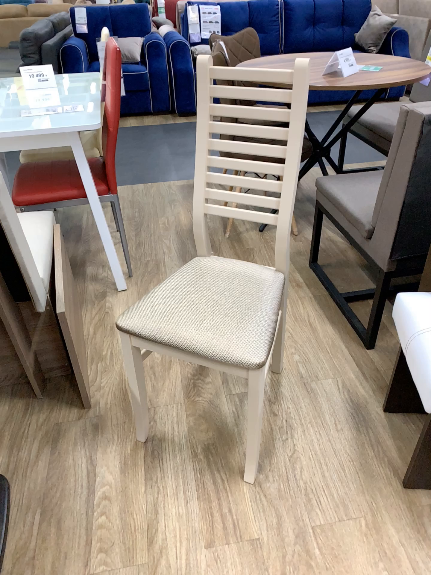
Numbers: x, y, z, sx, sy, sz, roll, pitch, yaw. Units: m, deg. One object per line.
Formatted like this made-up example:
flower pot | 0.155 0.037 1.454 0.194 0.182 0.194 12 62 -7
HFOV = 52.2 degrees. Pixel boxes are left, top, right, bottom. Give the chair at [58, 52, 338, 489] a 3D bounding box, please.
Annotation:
chair | 0.012 -0.031 1.146 0.390 0.969 0.475 13 37 20
